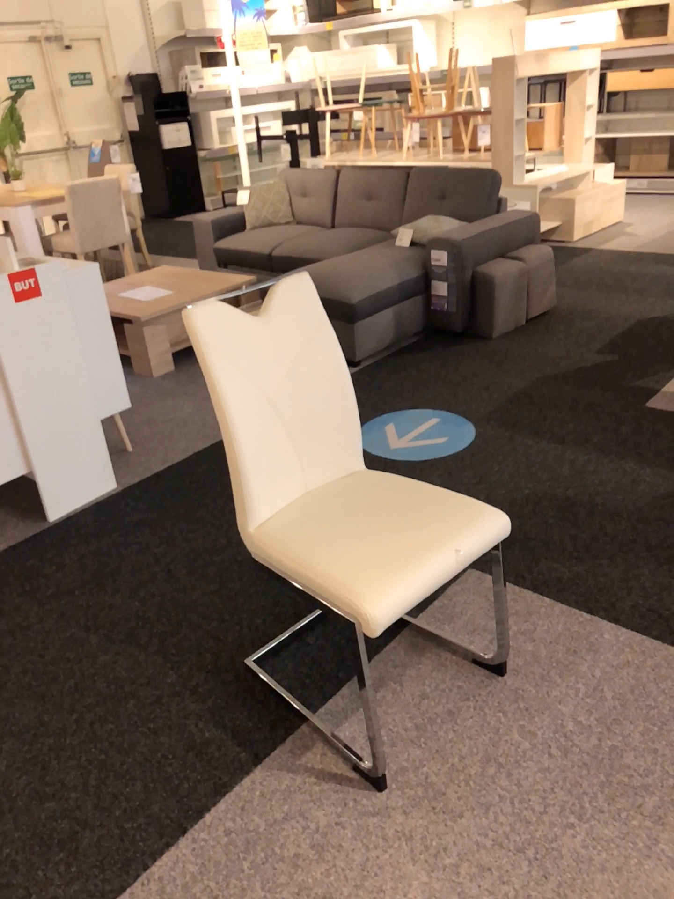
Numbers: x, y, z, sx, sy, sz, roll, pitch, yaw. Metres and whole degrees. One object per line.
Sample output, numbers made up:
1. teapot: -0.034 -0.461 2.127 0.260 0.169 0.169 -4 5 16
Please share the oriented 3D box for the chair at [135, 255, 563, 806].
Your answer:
1. chair: 0.057 0.111 1.644 0.630 0.915 0.563 18 34 40
